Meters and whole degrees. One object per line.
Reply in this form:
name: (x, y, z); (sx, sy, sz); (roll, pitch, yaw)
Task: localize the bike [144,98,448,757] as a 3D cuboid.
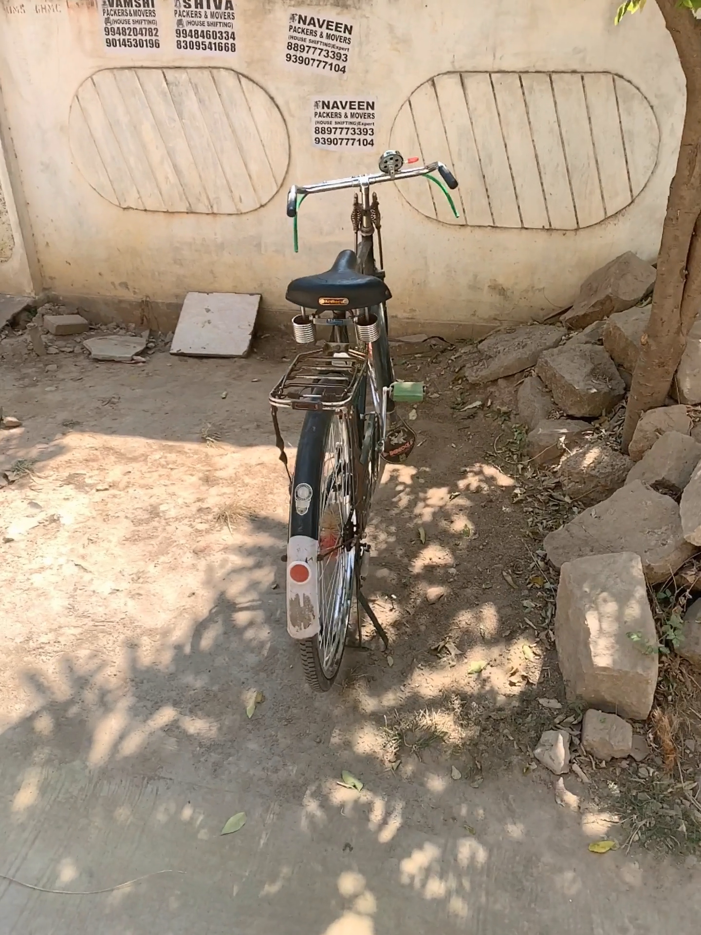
bike: (-0.051, -0.315, 1.989); (0.465, 0.994, 1.661); (1, 35, 3)
